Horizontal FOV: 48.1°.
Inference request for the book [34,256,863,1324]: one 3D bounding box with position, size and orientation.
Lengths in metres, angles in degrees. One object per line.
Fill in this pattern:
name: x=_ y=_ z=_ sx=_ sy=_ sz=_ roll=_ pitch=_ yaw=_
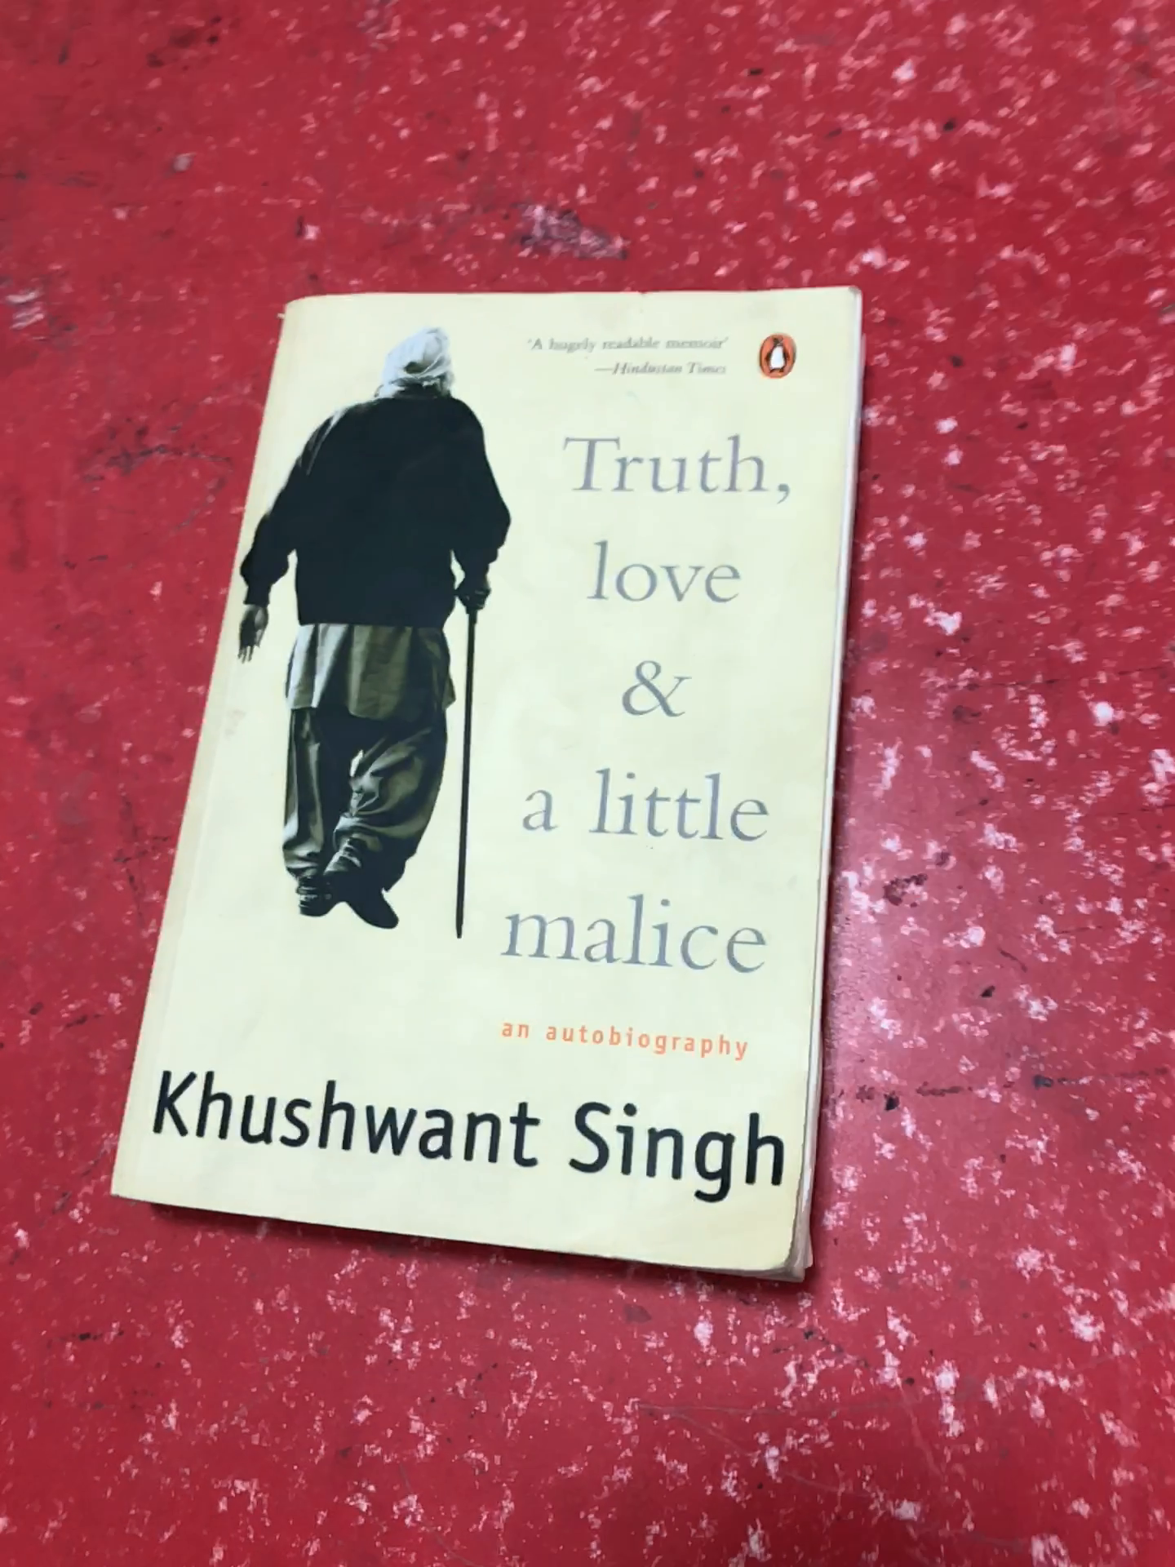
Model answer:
book: x=-0.019 y=-0.009 z=0.279 sx=0.140 sy=0.040 sz=0.210 roll=3 pitch=73 yaw=12
